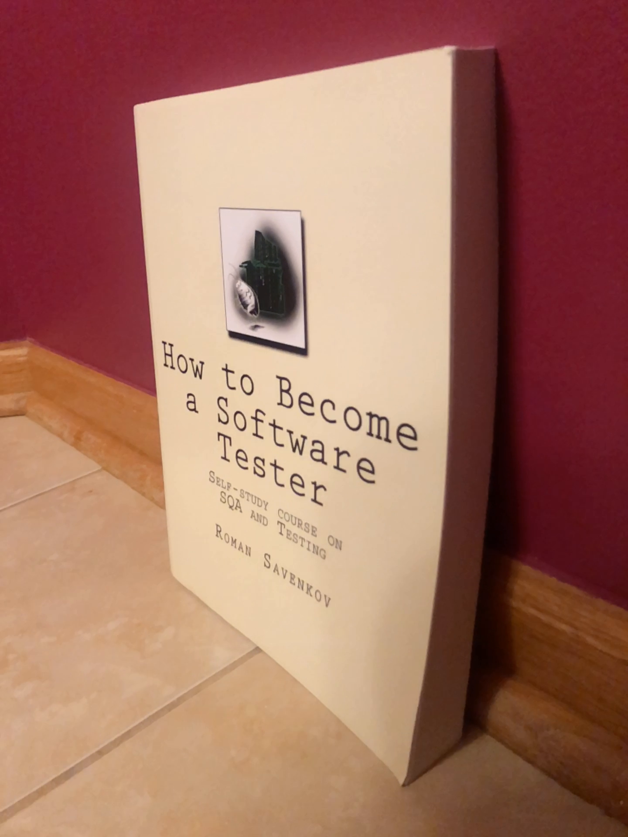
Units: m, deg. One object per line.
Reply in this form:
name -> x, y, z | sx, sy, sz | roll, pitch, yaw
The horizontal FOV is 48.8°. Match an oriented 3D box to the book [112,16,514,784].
book -> -0.016, -0.014, 0.334 | 0.045, 0.274, 0.221 | -15, 22, -35
